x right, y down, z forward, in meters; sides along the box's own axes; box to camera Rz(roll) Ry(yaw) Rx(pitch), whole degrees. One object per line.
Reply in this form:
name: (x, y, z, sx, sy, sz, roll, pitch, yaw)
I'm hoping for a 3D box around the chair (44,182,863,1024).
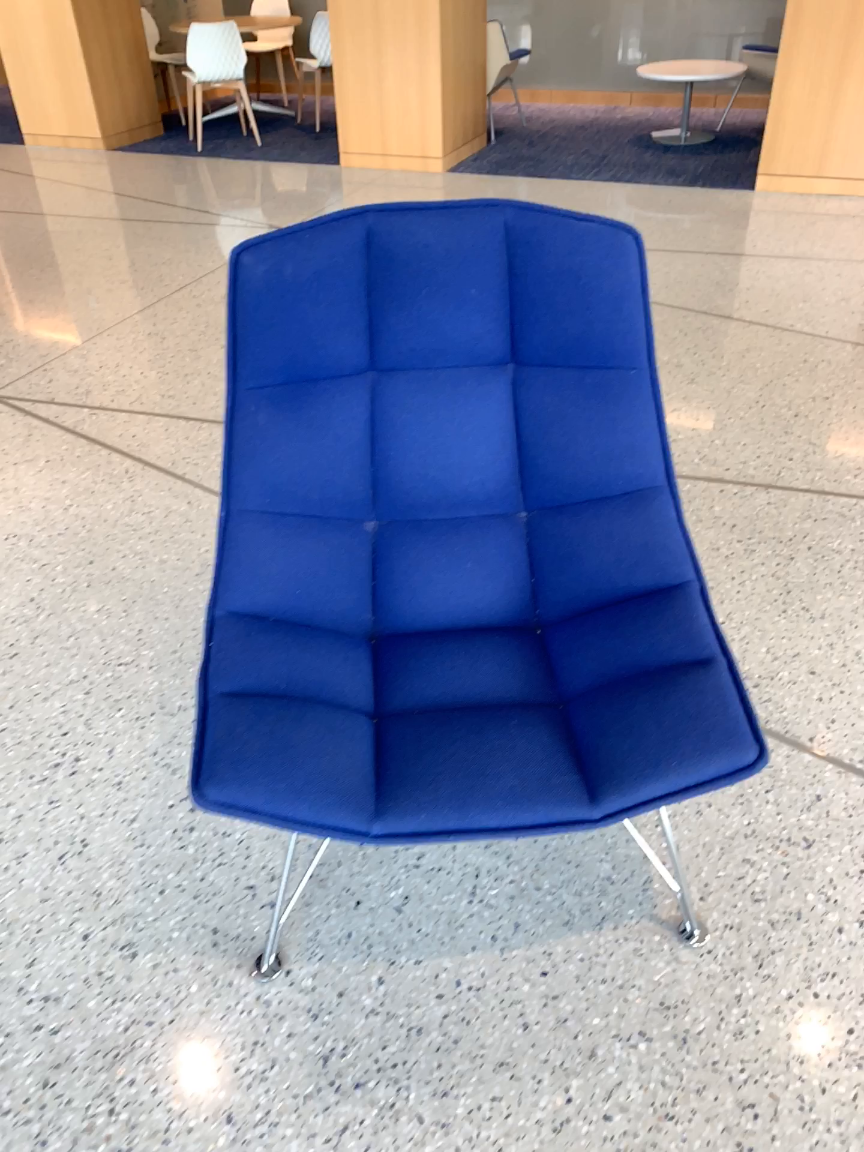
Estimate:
chair: (0.056, 0.009, 1.393, 0.798, 0.962, 0.836, -3, 36, -2)
